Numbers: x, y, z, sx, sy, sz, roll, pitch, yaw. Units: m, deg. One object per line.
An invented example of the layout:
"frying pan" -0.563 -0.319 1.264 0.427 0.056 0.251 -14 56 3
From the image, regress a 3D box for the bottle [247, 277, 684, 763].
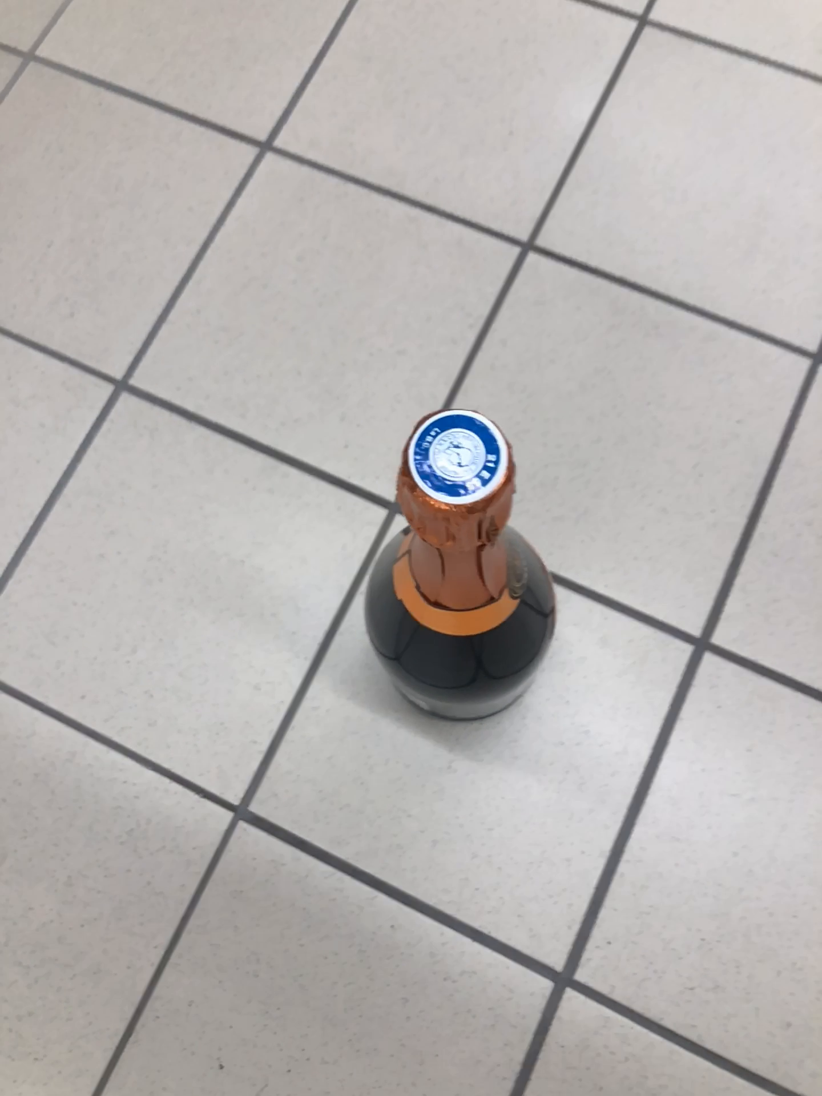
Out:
"bottle" 0.020 0.023 0.397 0.100 0.310 0.100 -1 73 3
